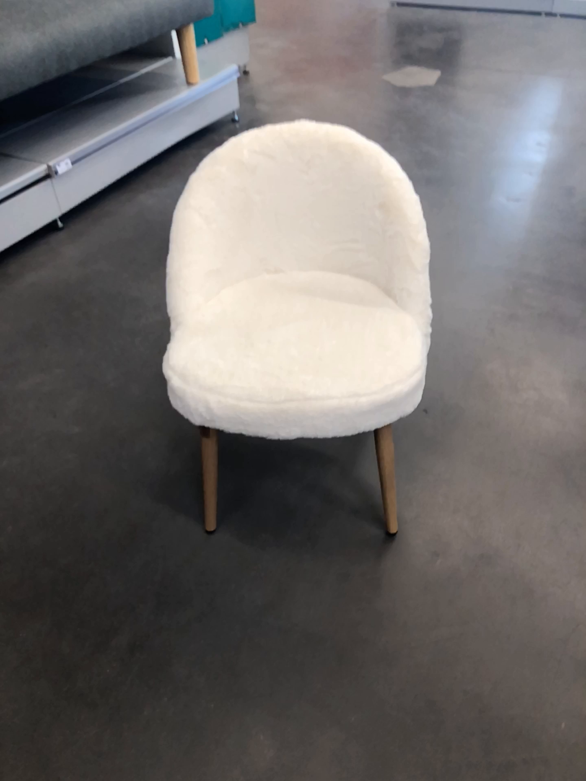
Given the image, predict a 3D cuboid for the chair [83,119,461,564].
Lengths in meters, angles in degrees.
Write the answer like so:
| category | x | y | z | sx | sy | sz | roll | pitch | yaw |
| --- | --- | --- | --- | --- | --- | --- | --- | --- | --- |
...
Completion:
| category | x | y | z | sx | sy | sz | roll | pitch | yaw |
| --- | --- | --- | --- | --- | --- | --- | --- | --- | --- |
| chair | -0.002 | -0.082 | 1.047 | 0.410 | 0.537 | 0.473 | 0 | 41 | 4 |
